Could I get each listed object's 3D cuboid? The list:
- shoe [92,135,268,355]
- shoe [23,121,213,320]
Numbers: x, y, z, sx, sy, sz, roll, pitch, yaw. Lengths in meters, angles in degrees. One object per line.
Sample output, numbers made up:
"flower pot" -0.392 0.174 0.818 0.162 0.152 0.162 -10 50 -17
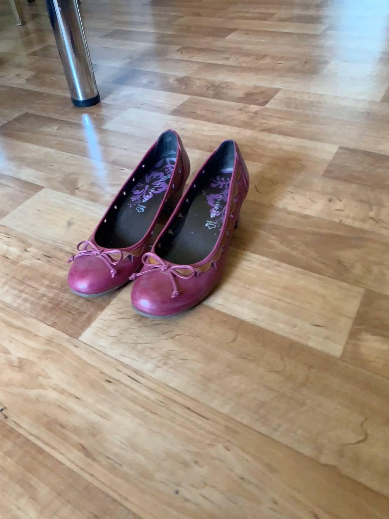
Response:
"shoe" 0.002 -0.032 0.460 0.090 0.109 0.241 15 47 21
"shoe" -0.072 -0.062 0.492 0.090 0.109 0.241 17 48 22
